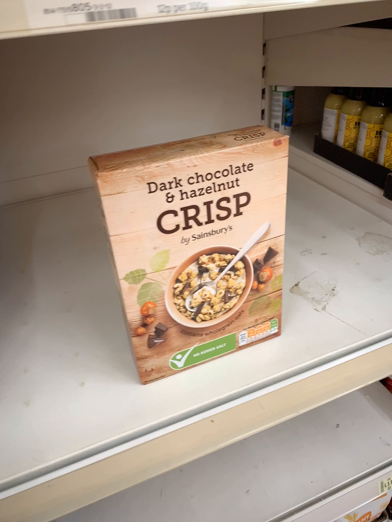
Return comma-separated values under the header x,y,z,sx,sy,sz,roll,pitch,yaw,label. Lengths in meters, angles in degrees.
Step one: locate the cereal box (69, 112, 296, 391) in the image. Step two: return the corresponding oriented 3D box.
x,y,z,sx,sy,sz,roll,pitch,yaw,label
-0.002,-0.006,0.417,0.190,0.248,0.060,-16,33,-17,cereal box
